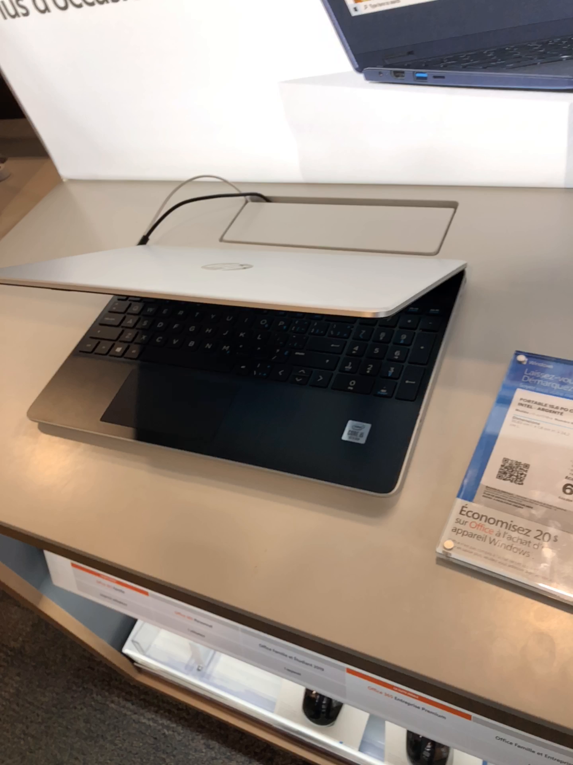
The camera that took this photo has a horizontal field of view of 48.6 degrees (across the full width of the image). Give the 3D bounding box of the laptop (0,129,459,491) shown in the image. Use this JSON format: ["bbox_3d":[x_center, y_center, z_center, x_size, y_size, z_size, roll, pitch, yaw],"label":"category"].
[{"bbox_3d":[-0.060,-0.079,0.524,0.346,0.131,0.230,9,53,26],"label":"laptop"}]
